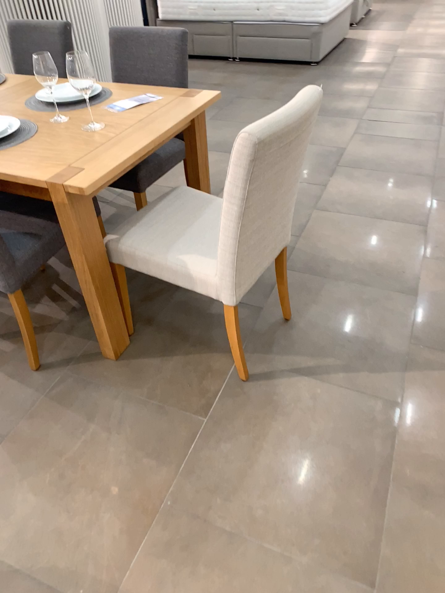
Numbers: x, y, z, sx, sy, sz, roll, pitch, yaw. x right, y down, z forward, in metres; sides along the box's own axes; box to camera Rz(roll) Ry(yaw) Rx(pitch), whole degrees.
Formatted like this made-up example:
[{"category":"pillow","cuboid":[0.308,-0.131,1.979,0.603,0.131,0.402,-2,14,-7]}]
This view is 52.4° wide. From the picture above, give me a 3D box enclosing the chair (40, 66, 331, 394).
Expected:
[{"category":"chair","cuboid":[-0.069,-0.248,1.552,0.644,0.838,0.540,19,44,26]}]
